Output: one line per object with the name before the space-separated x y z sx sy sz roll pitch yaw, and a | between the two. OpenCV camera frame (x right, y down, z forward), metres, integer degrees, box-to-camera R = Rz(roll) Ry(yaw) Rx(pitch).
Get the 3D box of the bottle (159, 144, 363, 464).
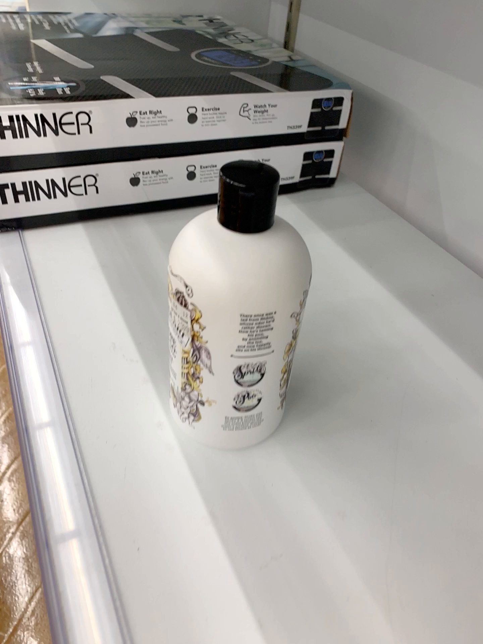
bottle | -0.002 -0.005 0.271 0.070 0.153 0.073 4 41 -4
